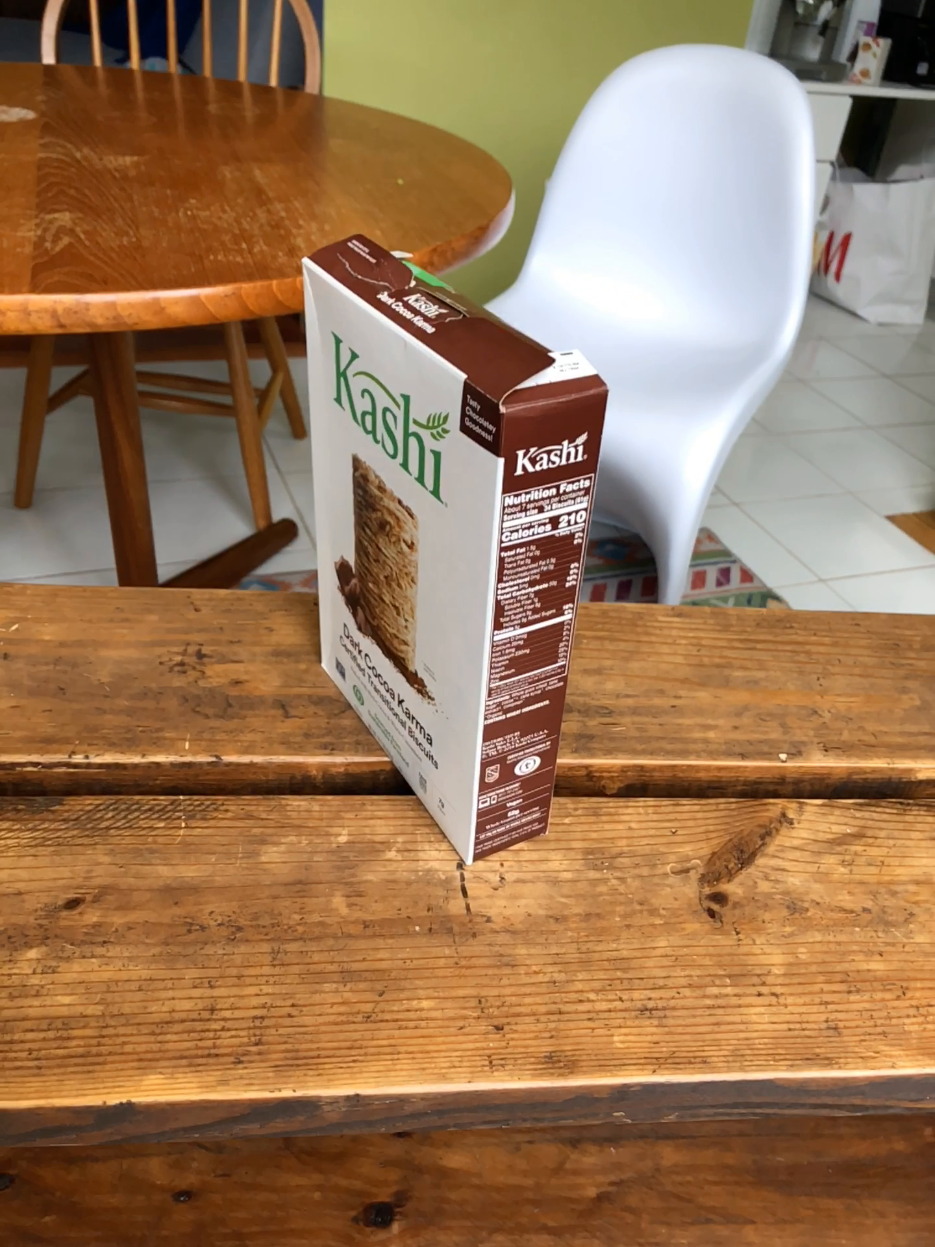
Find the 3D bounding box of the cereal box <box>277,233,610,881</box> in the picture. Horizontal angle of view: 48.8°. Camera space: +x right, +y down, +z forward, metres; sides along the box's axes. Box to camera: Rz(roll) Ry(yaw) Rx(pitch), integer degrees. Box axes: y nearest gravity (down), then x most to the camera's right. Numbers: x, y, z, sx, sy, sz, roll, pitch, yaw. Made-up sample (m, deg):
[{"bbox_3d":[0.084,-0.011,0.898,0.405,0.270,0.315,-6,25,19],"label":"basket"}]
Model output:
[{"bbox_3d":[-0.026,-0.035,0.553,0.060,0.278,0.201,-18,42,-26],"label":"cereal box"}]
